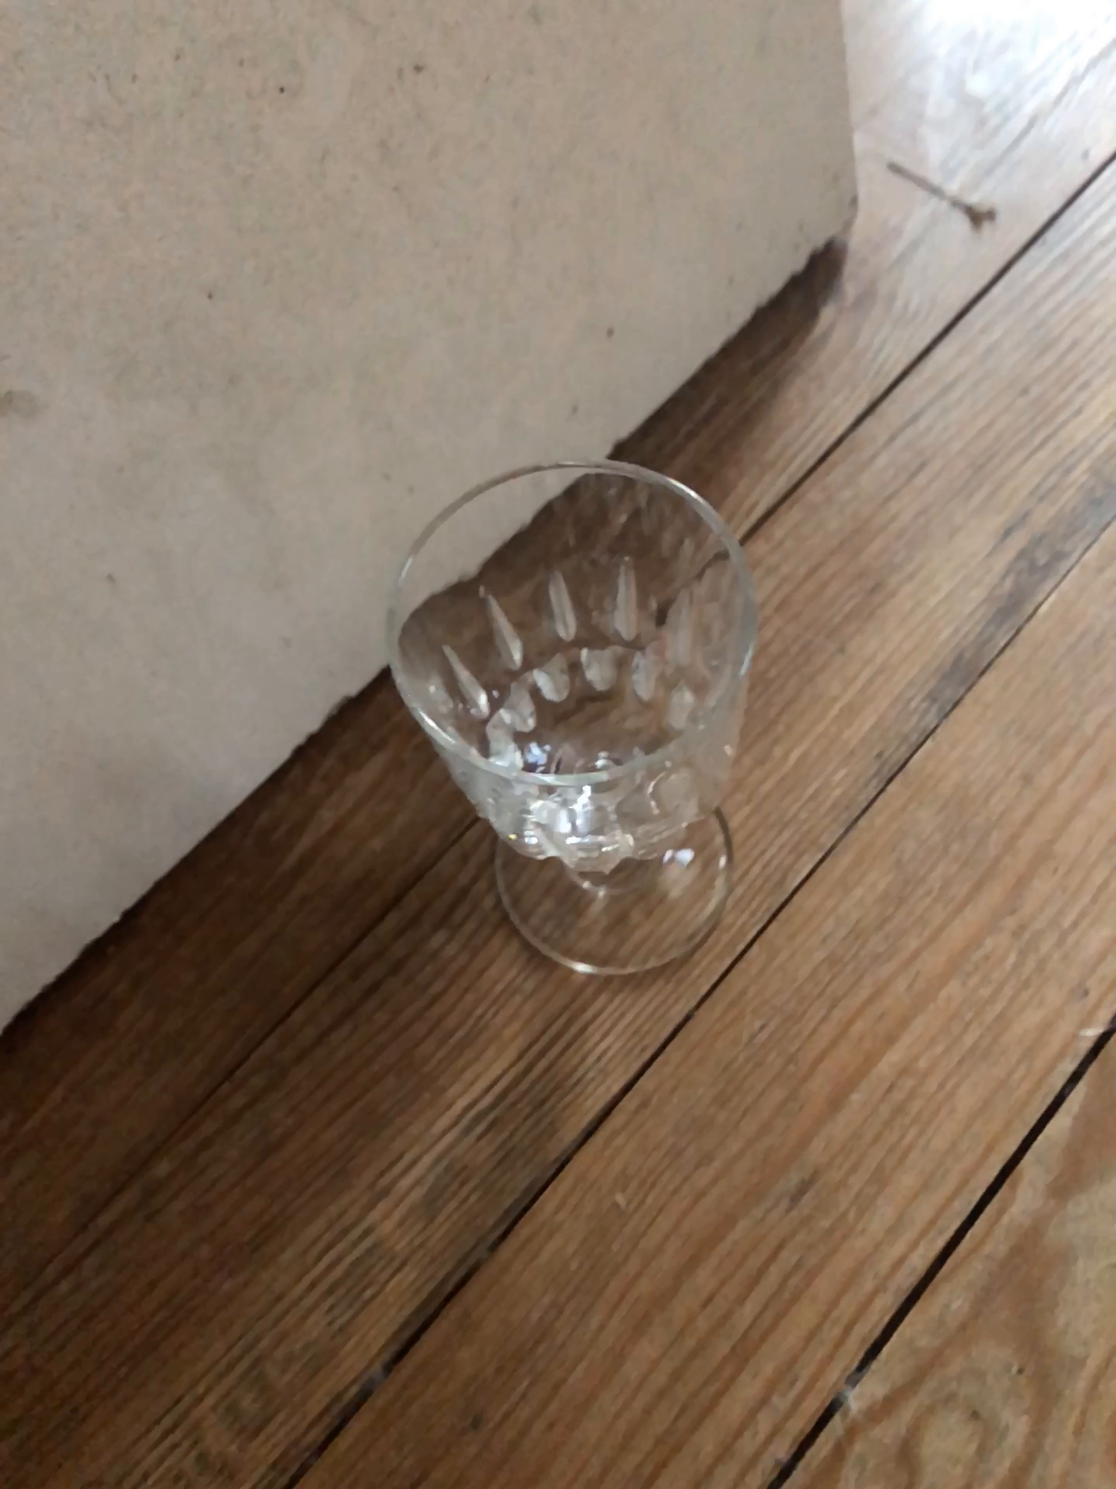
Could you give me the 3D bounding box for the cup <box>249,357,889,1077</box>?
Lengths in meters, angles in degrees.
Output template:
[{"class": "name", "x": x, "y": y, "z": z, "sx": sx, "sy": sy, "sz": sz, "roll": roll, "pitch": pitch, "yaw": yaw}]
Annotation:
[{"class": "cup", "x": 0.007, "y": 0.004, "z": 0.245, "sx": 0.070, "sy": 0.120, "sz": 0.070, "roll": -2, "pitch": 64, "yaw": 4}]
